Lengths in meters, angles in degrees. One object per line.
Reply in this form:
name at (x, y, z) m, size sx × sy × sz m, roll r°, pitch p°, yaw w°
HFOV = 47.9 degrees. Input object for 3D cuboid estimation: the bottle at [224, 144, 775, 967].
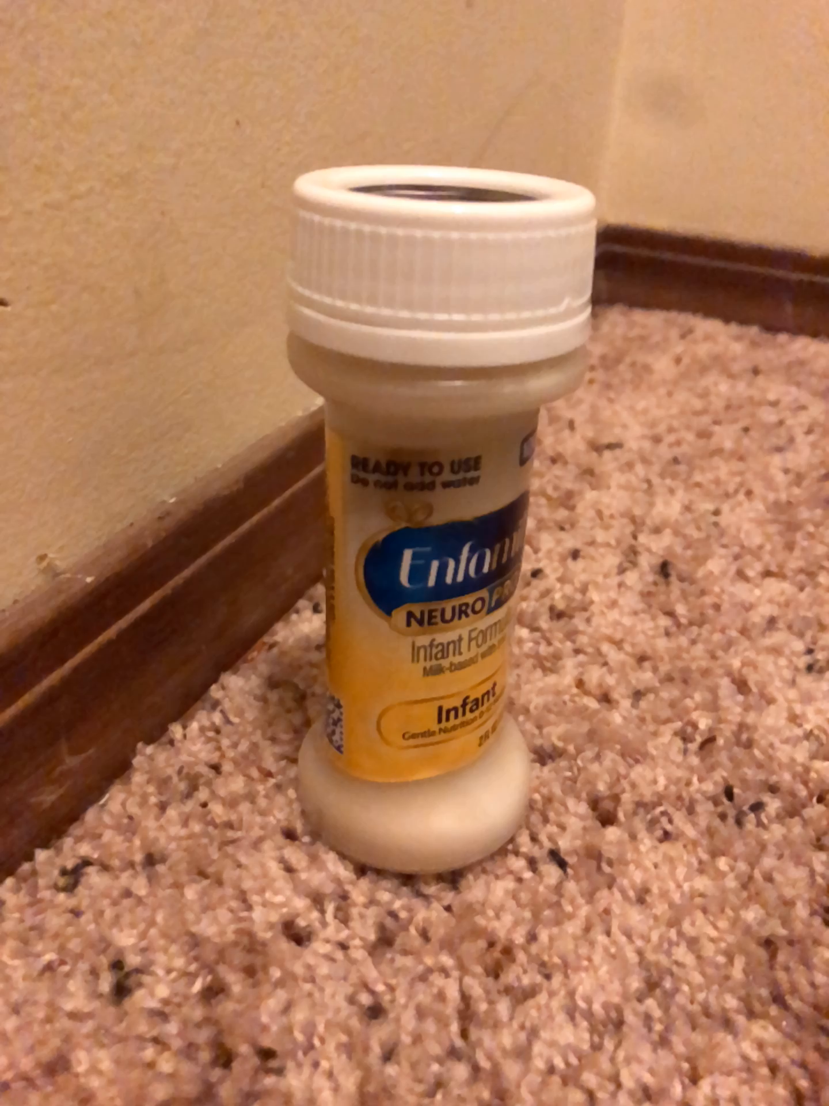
bottle at (0.006, -0.001, 0.147) m, size 0.050 × 0.110 × 0.050 m, roll 3°, pitch 30°, yaw -2°
